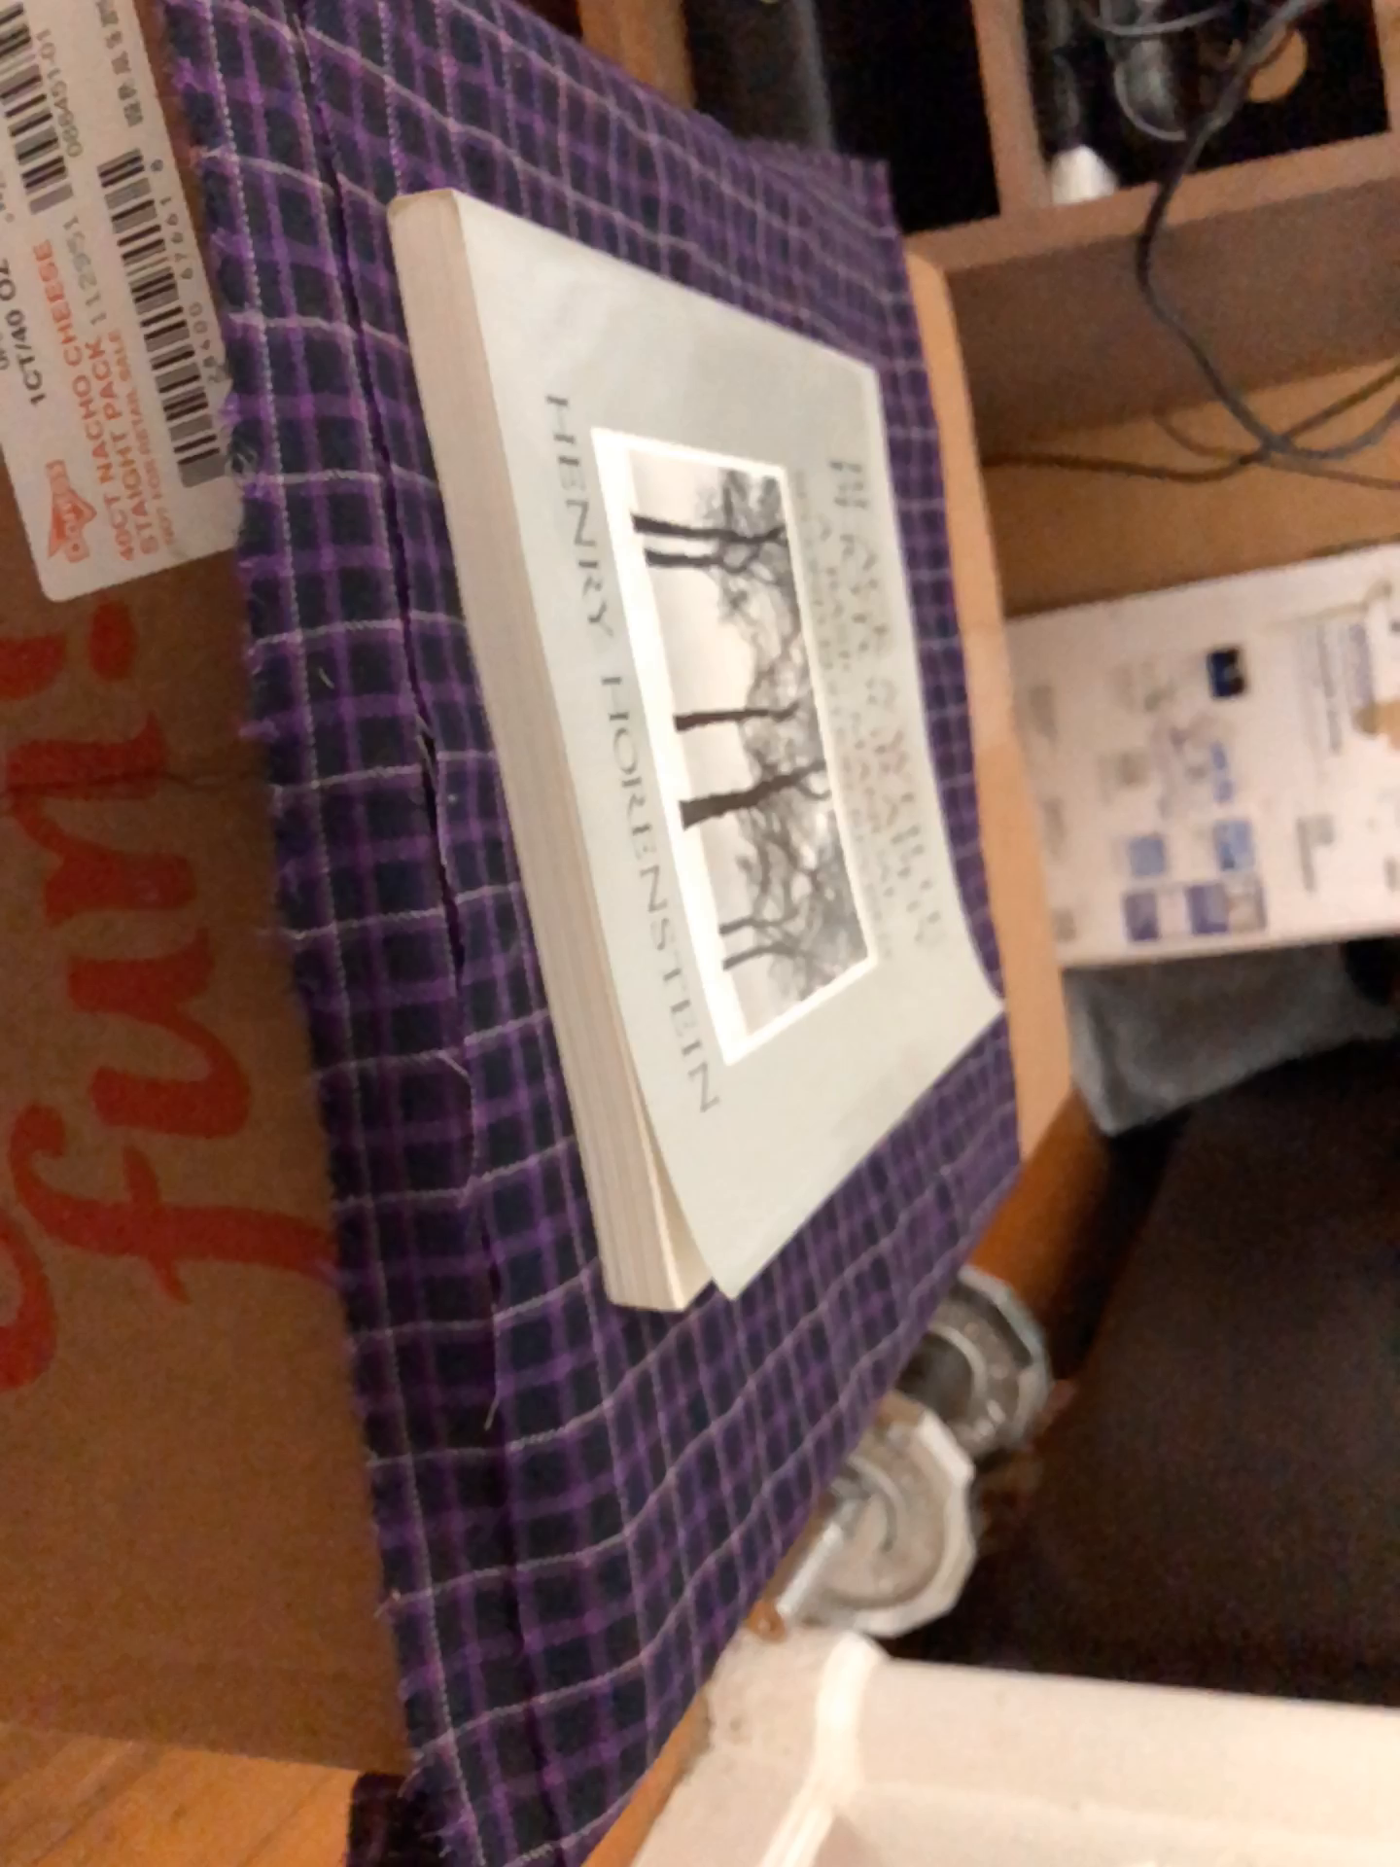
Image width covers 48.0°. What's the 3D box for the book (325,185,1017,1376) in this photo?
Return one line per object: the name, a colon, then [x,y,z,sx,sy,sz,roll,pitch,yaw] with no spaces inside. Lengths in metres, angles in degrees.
book: [0.019,-0.044,0.392,0.251,0.030,0.210,-25,106,-63]
